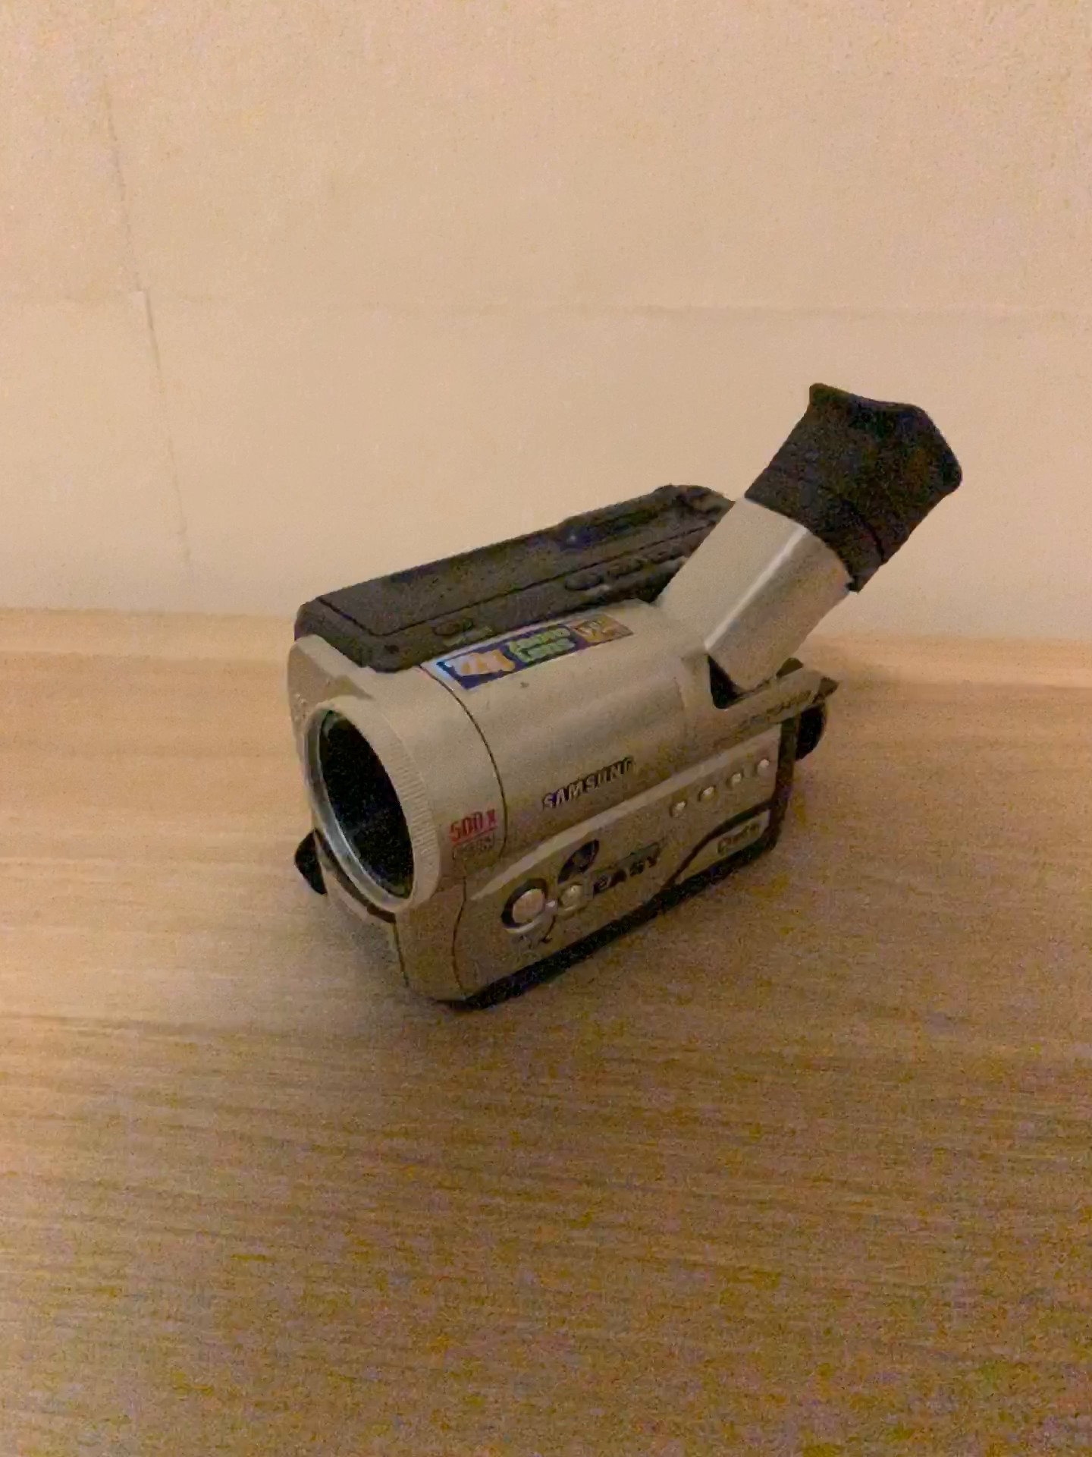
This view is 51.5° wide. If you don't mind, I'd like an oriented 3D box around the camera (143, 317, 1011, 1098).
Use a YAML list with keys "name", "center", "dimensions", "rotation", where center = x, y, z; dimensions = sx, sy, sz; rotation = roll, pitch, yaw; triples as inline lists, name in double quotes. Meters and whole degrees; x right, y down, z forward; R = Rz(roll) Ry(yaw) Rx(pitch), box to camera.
- name: "camera"
  center: [0.014, -0.025, 0.312]
  dimensions: [0.192, 0.133, 0.106]
  rotation: [-22, 37, -34]
